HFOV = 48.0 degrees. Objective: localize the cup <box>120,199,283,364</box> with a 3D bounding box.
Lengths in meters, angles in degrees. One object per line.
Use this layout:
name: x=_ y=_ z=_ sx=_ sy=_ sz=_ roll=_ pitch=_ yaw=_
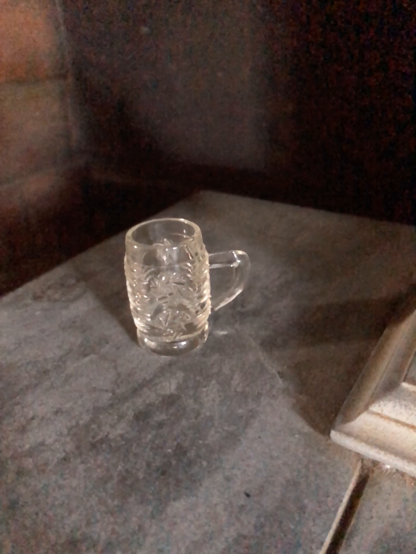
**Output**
cup: x=-0.002 y=0.000 z=0.210 sx=0.060 sy=0.050 sz=0.040 roll=-13 pitch=30 yaw=-15
